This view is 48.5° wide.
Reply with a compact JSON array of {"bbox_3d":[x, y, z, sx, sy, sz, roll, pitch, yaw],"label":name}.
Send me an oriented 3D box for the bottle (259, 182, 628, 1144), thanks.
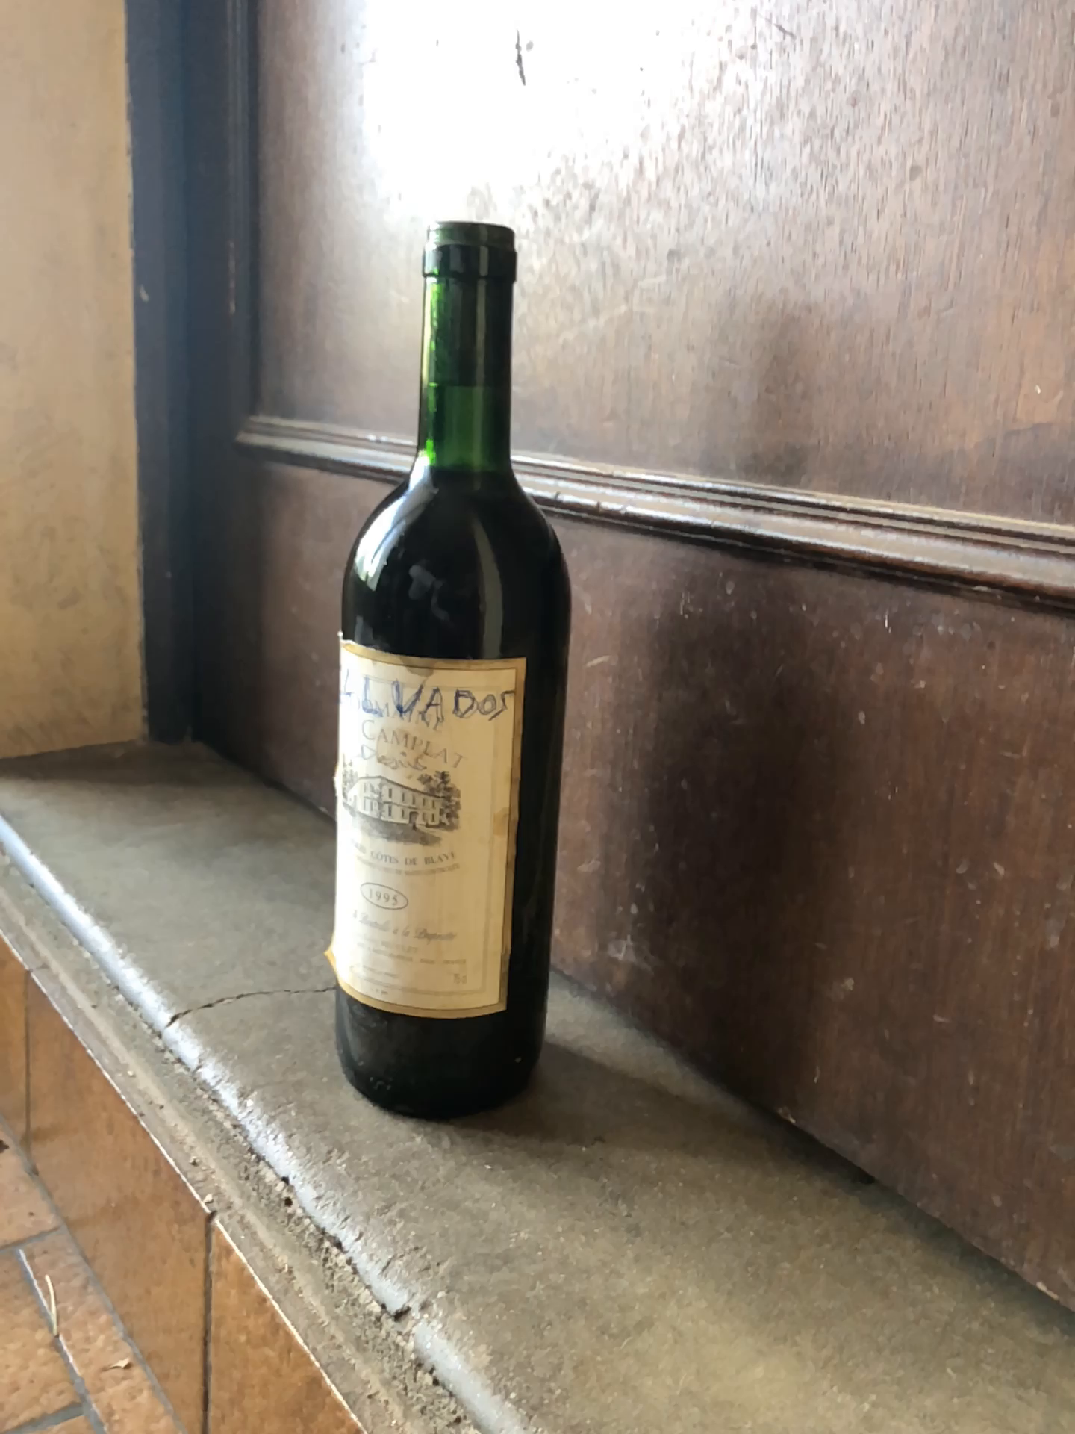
[{"bbox_3d":[-0.033,-0.016,0.389,0.080,0.279,0.080,3,15,-1],"label":"bottle"}]
